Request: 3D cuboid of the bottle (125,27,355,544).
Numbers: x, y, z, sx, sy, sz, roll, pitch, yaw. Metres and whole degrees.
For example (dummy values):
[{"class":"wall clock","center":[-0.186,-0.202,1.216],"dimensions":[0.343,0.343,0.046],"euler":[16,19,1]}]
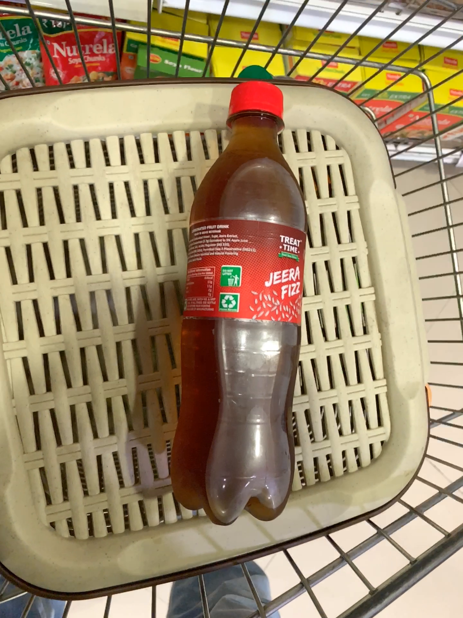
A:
[{"class":"bottle","center":[0.006,-0.010,0.263],"dimensions":[0.080,0.070,0.230],"euler":[9,85,-39]}]
